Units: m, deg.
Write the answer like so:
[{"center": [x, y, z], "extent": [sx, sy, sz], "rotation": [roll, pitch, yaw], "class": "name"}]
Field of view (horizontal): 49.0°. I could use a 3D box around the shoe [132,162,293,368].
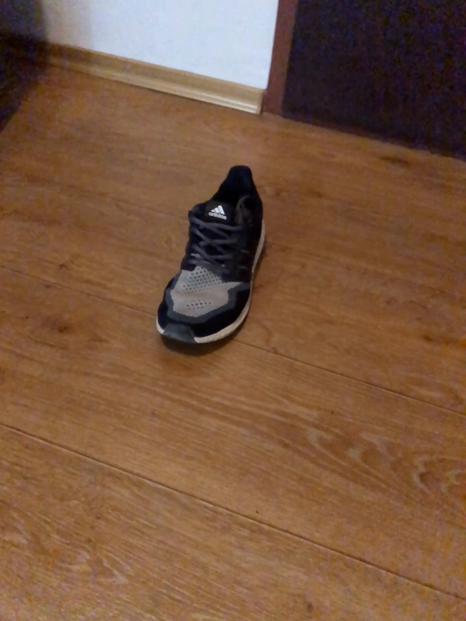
[{"center": [-0.017, -0.073, 0.672], "extent": [0.113, 0.099, 0.272], "rotation": [17, 47, 9], "class": "shoe"}]
